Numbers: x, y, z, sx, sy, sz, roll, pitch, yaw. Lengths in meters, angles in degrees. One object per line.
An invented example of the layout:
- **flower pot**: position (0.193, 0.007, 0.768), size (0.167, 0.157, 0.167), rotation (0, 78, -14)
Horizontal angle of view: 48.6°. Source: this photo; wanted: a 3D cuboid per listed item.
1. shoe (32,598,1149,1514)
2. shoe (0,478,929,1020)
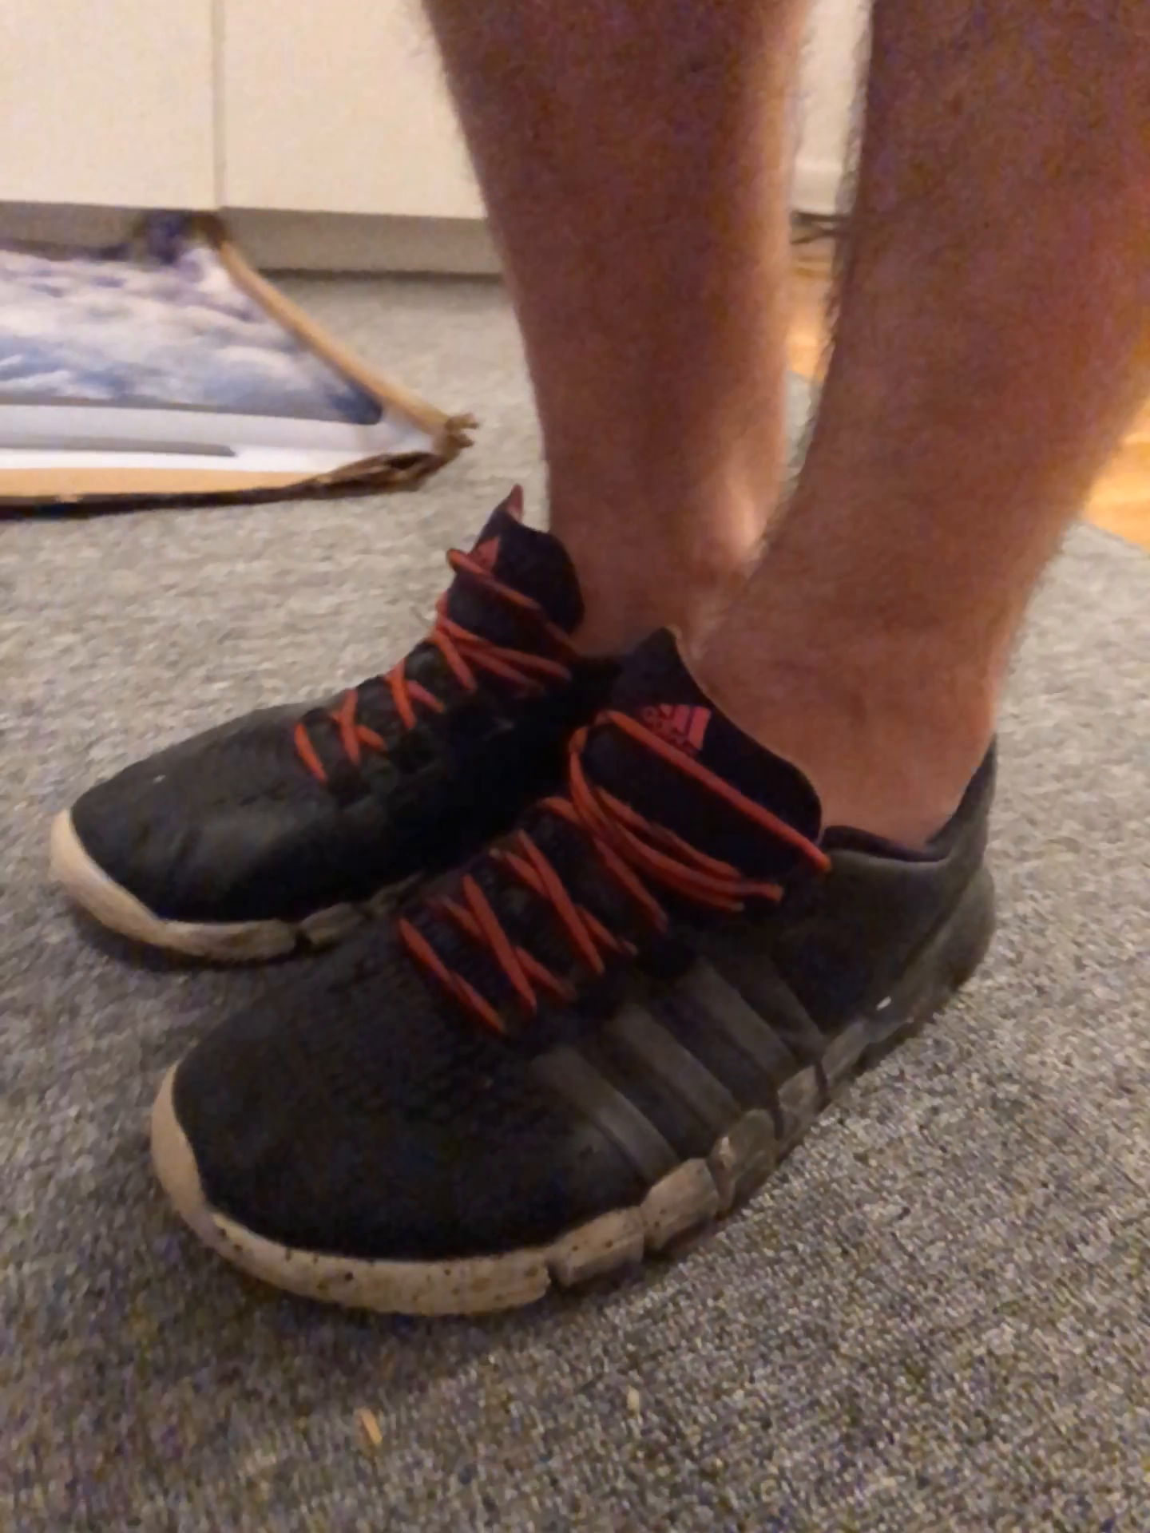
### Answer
- **shoe**: position (0.033, 0.044, 0.371), size (0.321, 0.089, 0.131), rotation (-17, 39, -36)
- **shoe**: position (-0.038, -0.025, 0.454), size (0.301, 0.099, 0.121), rotation (-11, 36, -29)
